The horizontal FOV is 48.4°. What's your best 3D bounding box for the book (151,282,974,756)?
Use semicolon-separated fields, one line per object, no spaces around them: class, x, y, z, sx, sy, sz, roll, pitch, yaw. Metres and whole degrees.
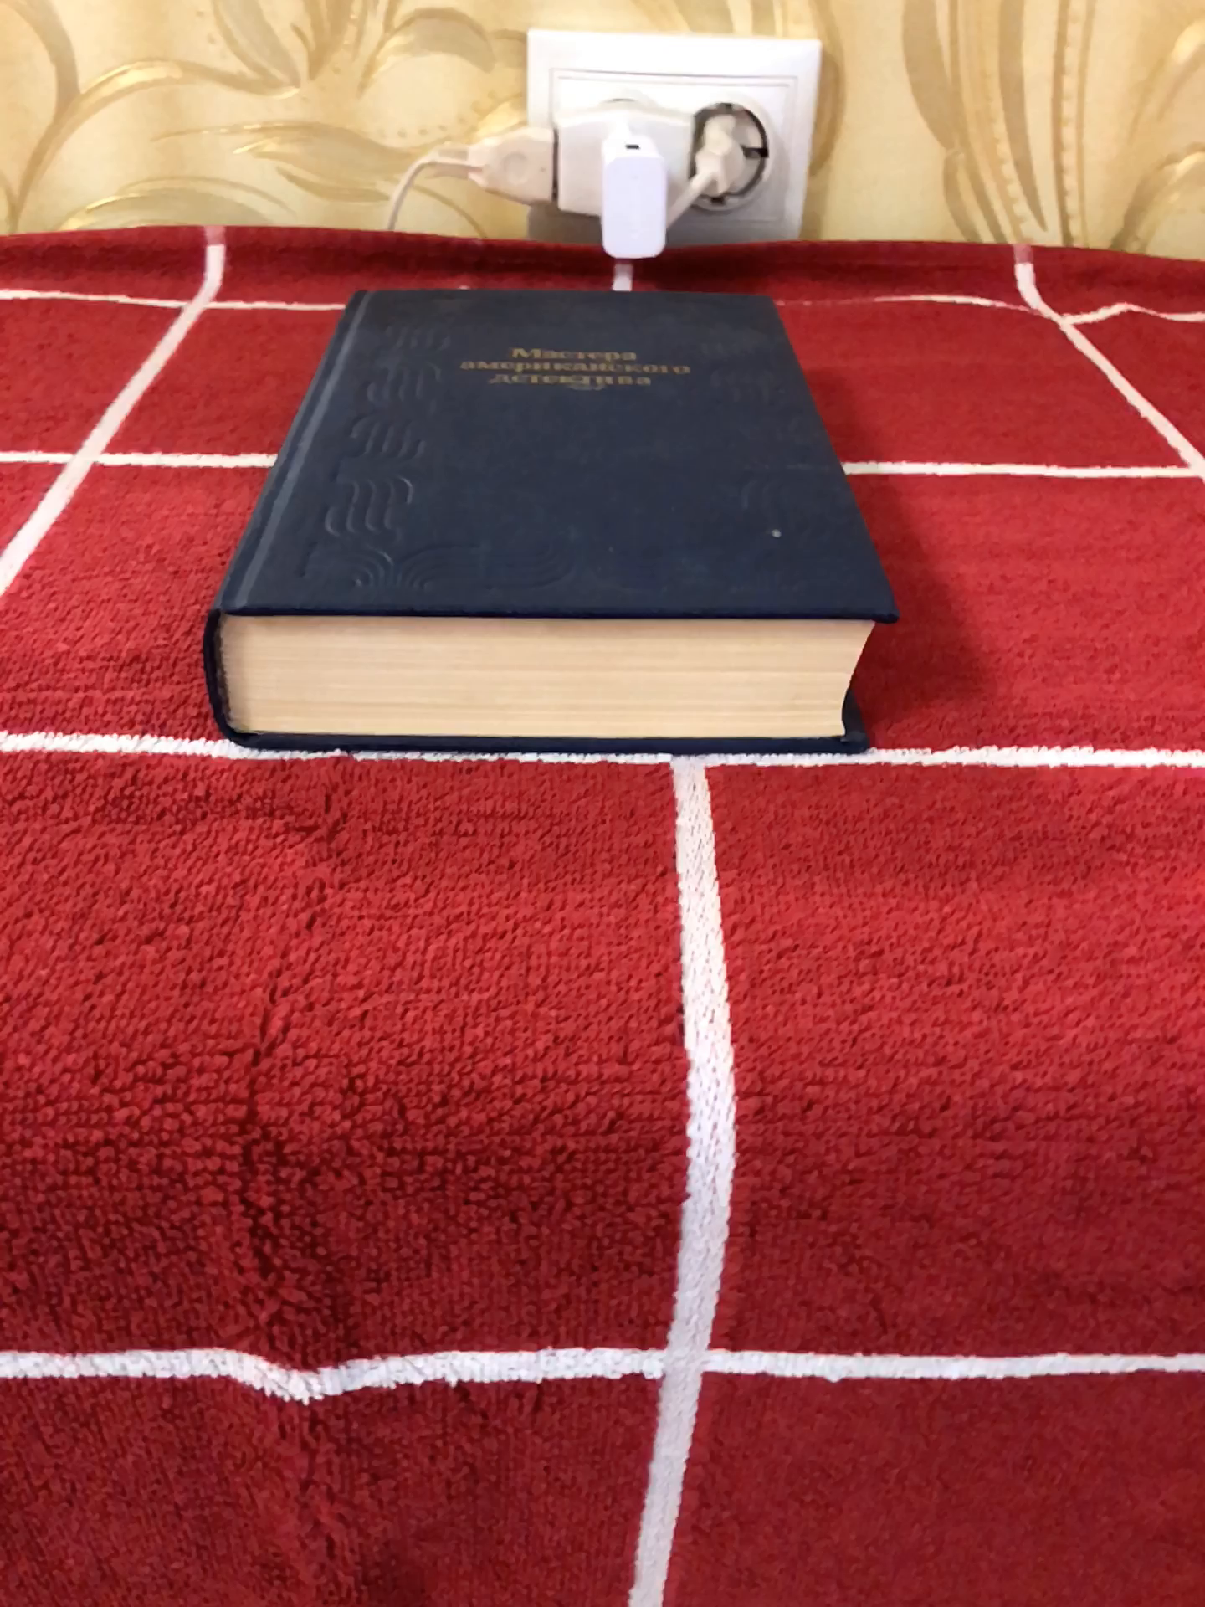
book;-0.009;-0.079;0.319;0.143;0.030;0.194;0;37;-2
